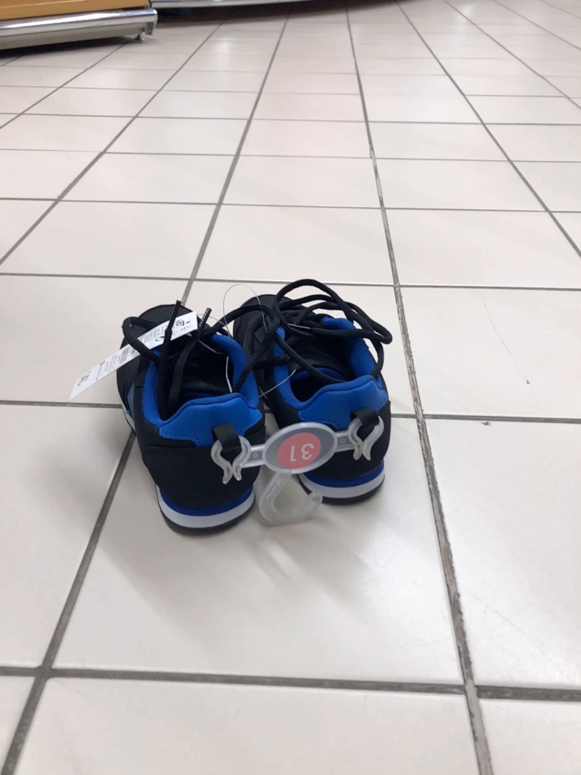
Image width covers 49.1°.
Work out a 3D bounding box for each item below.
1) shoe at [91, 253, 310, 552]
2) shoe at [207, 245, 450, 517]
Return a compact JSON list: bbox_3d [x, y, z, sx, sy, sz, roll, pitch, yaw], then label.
[{"bbox_3d":[-0.068,-0.007,0.418,0.085,0.071,0.212,-13,38,-17],"label":"shoe"},{"bbox_3d":[0.011,-0.021,0.436,0.085,0.061,0.218,-11,38,-15],"label":"shoe"}]
